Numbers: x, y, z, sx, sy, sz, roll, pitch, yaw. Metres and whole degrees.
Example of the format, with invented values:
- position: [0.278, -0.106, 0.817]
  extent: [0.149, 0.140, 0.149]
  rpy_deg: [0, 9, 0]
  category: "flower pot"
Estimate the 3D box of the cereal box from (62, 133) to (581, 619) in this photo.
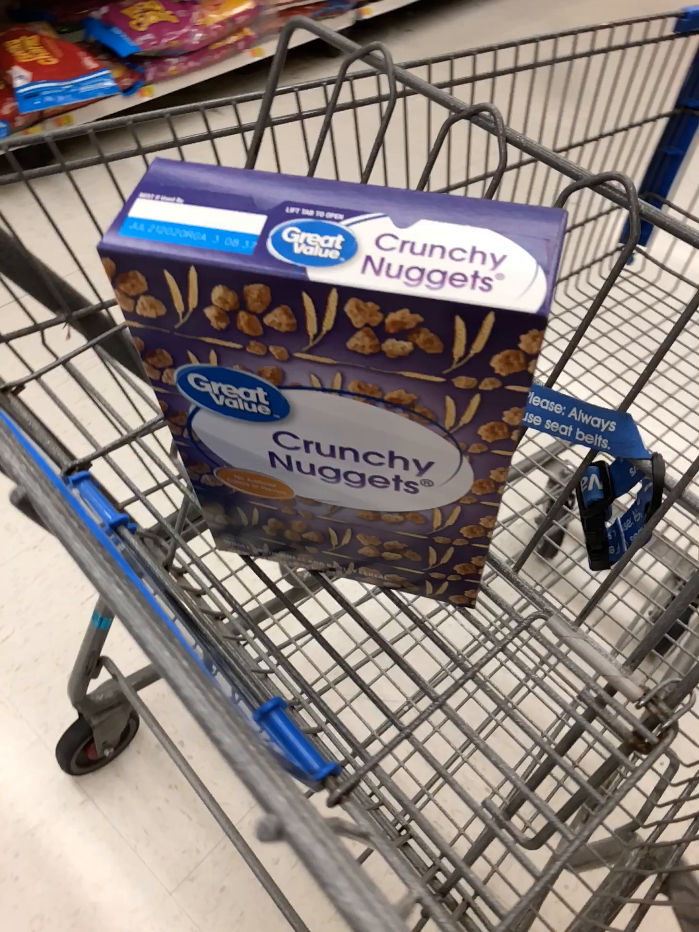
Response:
- position: [-0.008, -0.020, 0.366]
  extent: [0.170, 0.240, 0.060]
  rpy_deg: [11, 57, 7]
  category: "cereal box"
